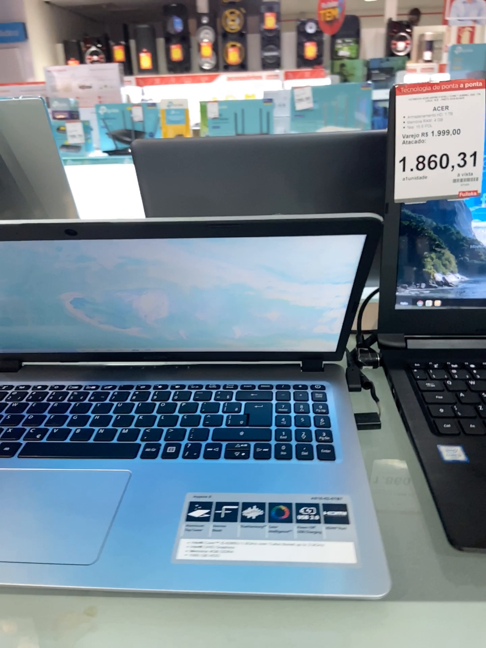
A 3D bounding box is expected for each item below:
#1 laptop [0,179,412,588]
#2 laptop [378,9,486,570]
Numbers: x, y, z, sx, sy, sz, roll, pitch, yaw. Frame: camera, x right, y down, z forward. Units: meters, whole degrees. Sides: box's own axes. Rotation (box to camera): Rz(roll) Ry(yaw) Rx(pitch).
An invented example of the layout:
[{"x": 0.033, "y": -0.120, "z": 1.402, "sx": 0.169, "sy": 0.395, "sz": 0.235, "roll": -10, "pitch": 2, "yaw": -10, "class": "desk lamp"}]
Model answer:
[{"x": -0.096, "y": 0.012, "z": 0.354, "sx": 0.352, "sy": 0.175, "sz": 0.237, "roll": -1, "pitch": 25, "yaw": 4, "class": "laptop"}, {"x": 0.311, "y": -0.046, "z": 0.355, "sx": 0.354, "sy": 0.239, "sz": 0.289, "roll": -1, "pitch": 24, "yaw": 6, "class": "laptop"}]
